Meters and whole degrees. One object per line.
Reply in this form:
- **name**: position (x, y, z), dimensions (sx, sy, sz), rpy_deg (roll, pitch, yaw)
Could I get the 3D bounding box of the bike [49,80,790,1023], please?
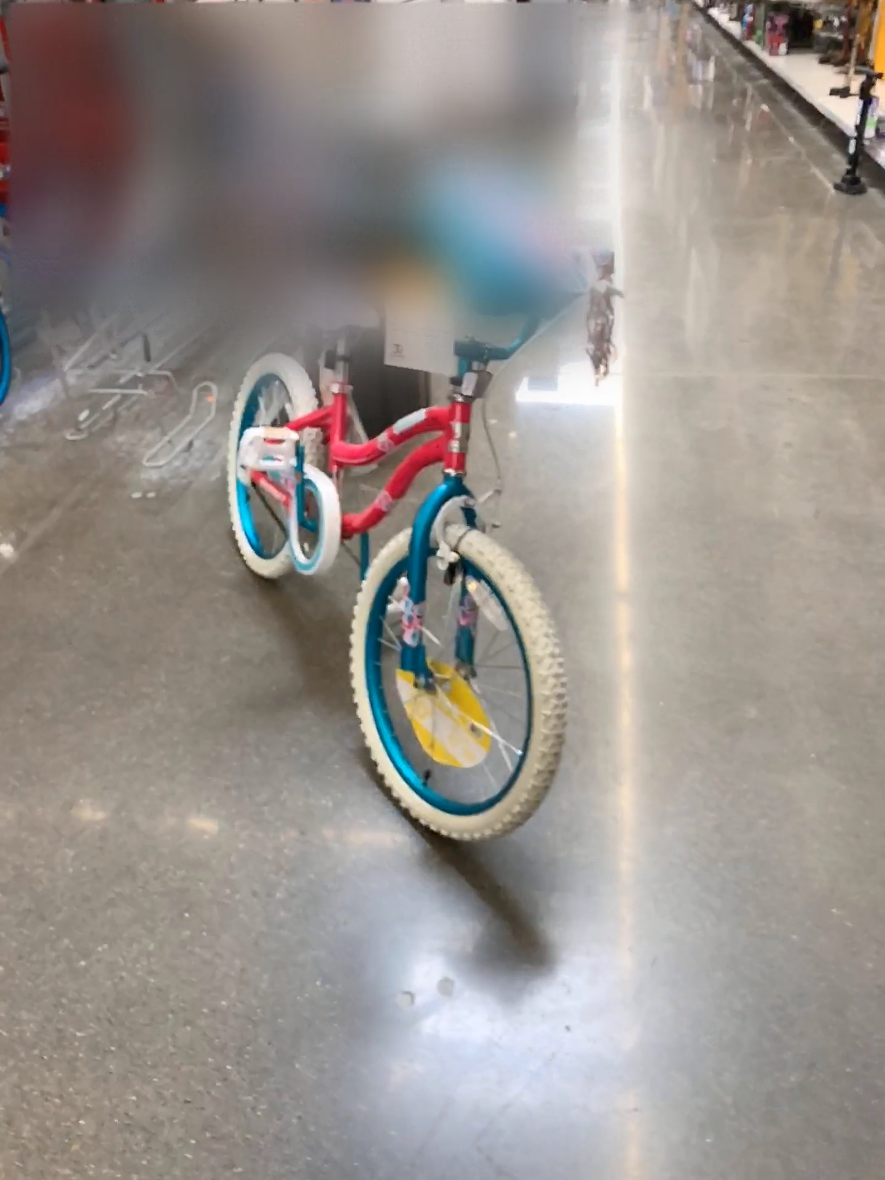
- **bike**: position (-0.131, -0.238, 1.632), dimensions (0.653, 0.929, 1.267), rpy_deg (-19, 41, -23)
